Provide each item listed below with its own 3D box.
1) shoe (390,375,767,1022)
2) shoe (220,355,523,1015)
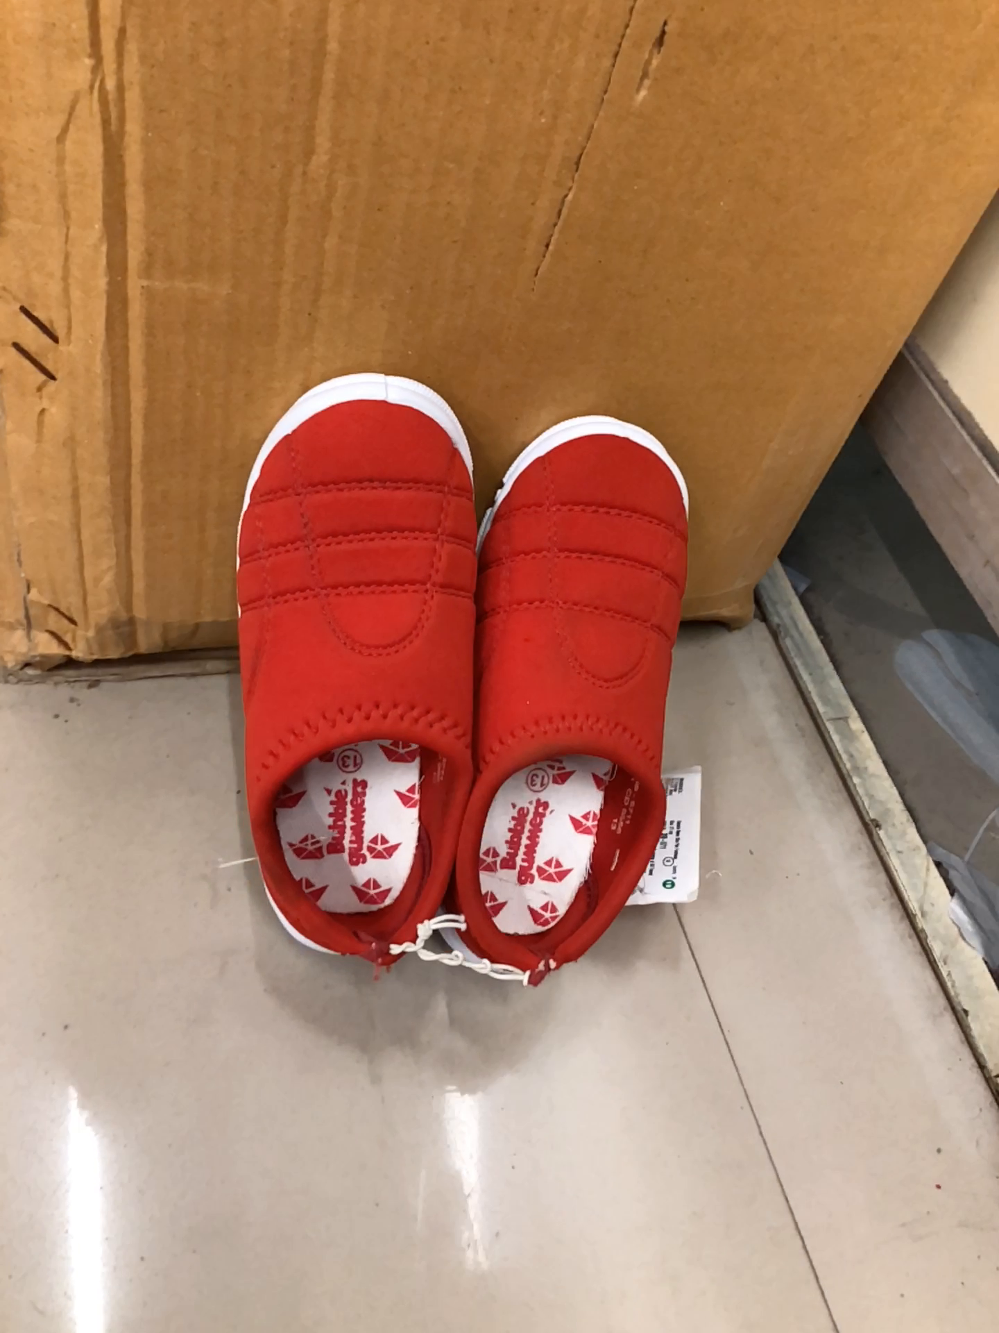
[{"bbox_3d":[0.021,0.009,0.407,0.084,0.208,0.081,11,9,-7],"label":"shoe"},{"bbox_3d":[-0.051,0.002,0.380,0.085,0.204,0.082,-1,14,-17],"label":"shoe"}]
